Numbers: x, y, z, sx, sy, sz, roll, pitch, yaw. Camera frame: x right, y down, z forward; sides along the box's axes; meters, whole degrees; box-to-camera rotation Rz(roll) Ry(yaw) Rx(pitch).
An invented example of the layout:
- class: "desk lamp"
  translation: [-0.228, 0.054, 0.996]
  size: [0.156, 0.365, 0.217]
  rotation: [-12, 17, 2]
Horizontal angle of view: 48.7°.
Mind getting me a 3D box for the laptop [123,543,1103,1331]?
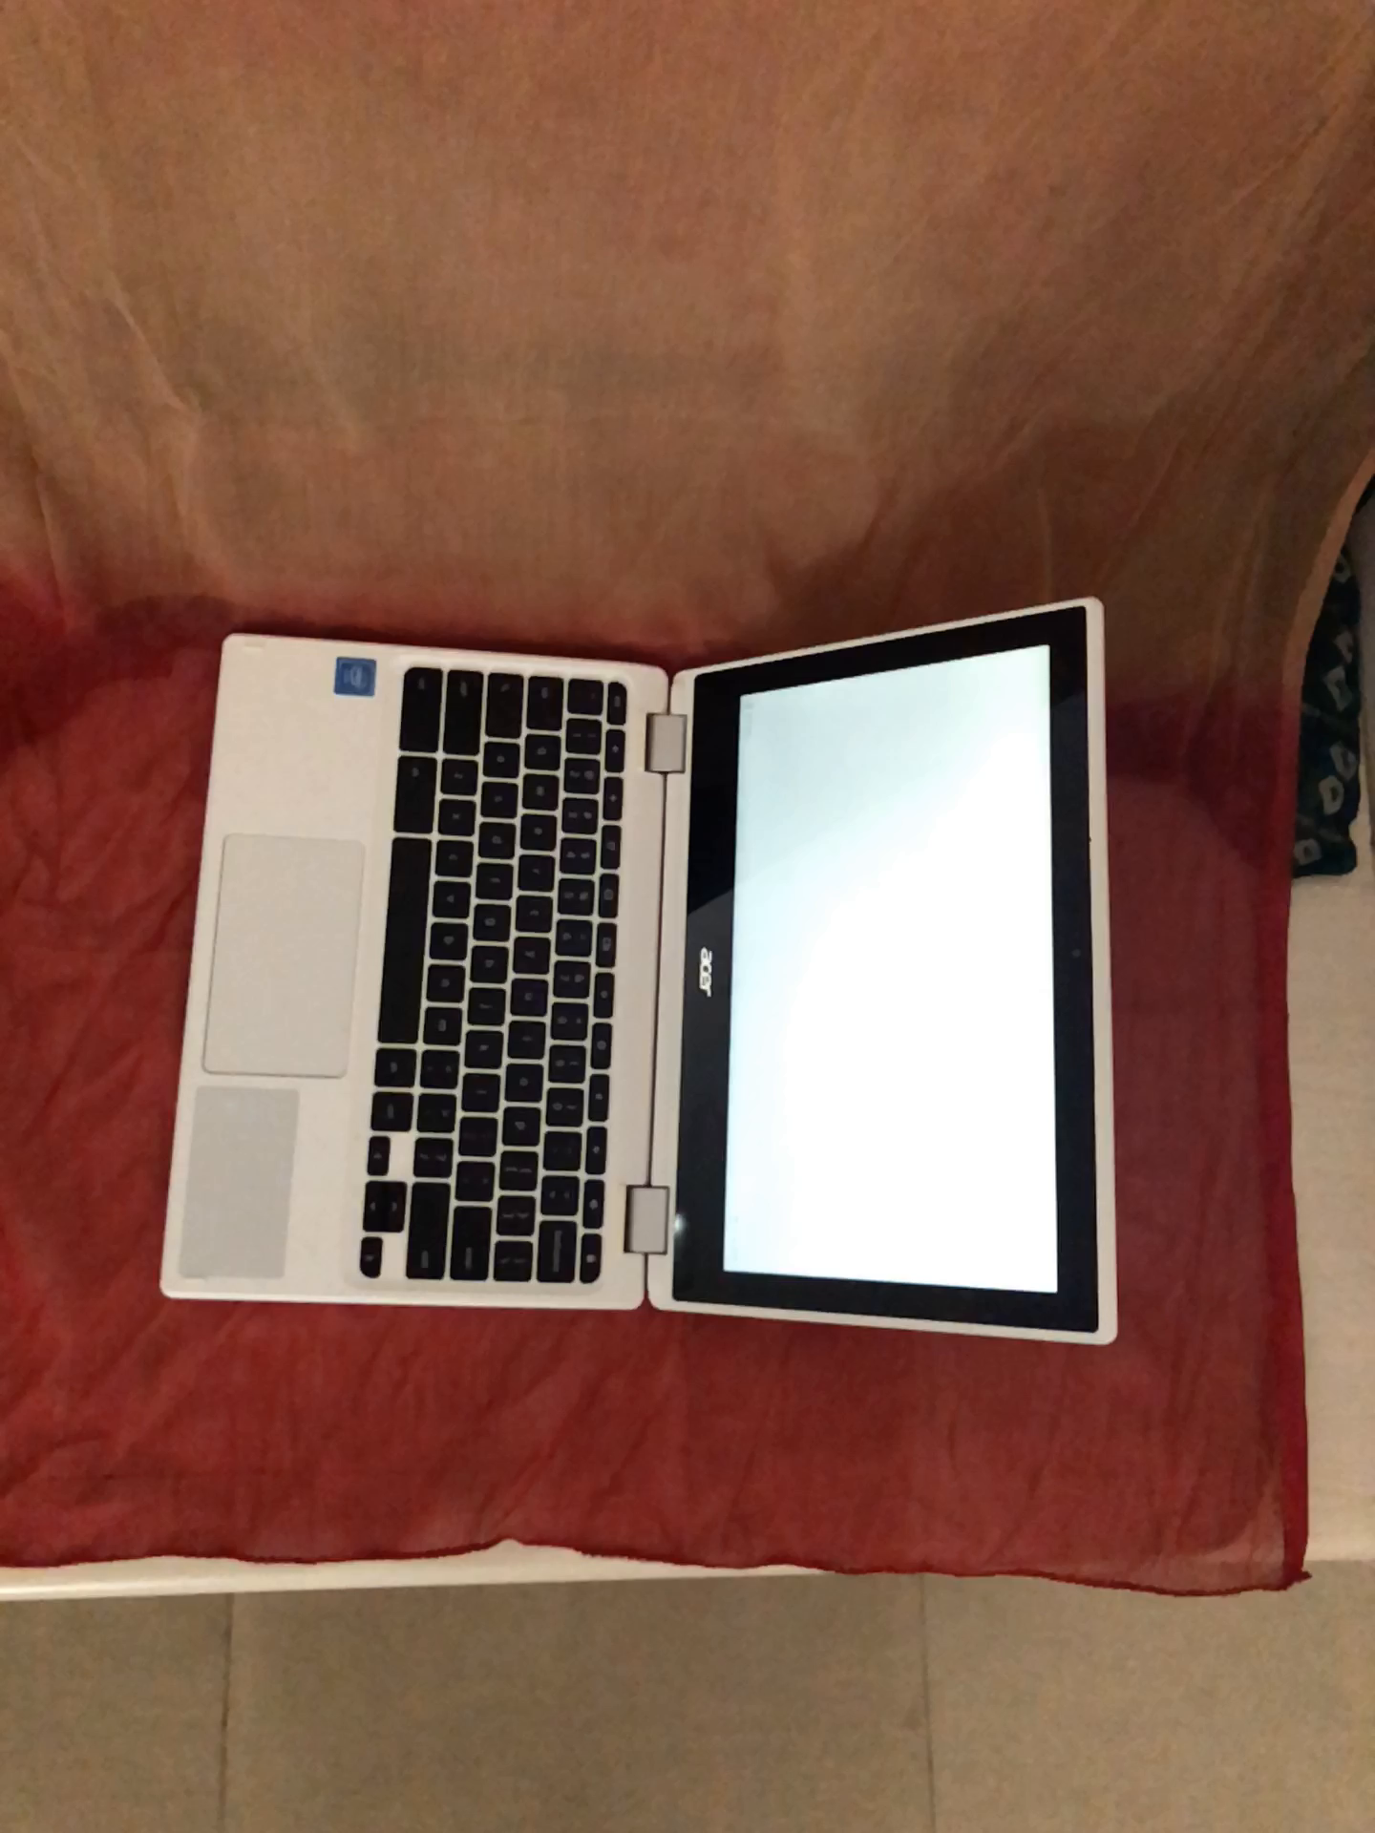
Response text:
- class: "laptop"
  translation: [-0.022, 0.016, 0.602]
  size: [0.337, 0.113, 0.263]
  rotation: [4, 79, -6]
